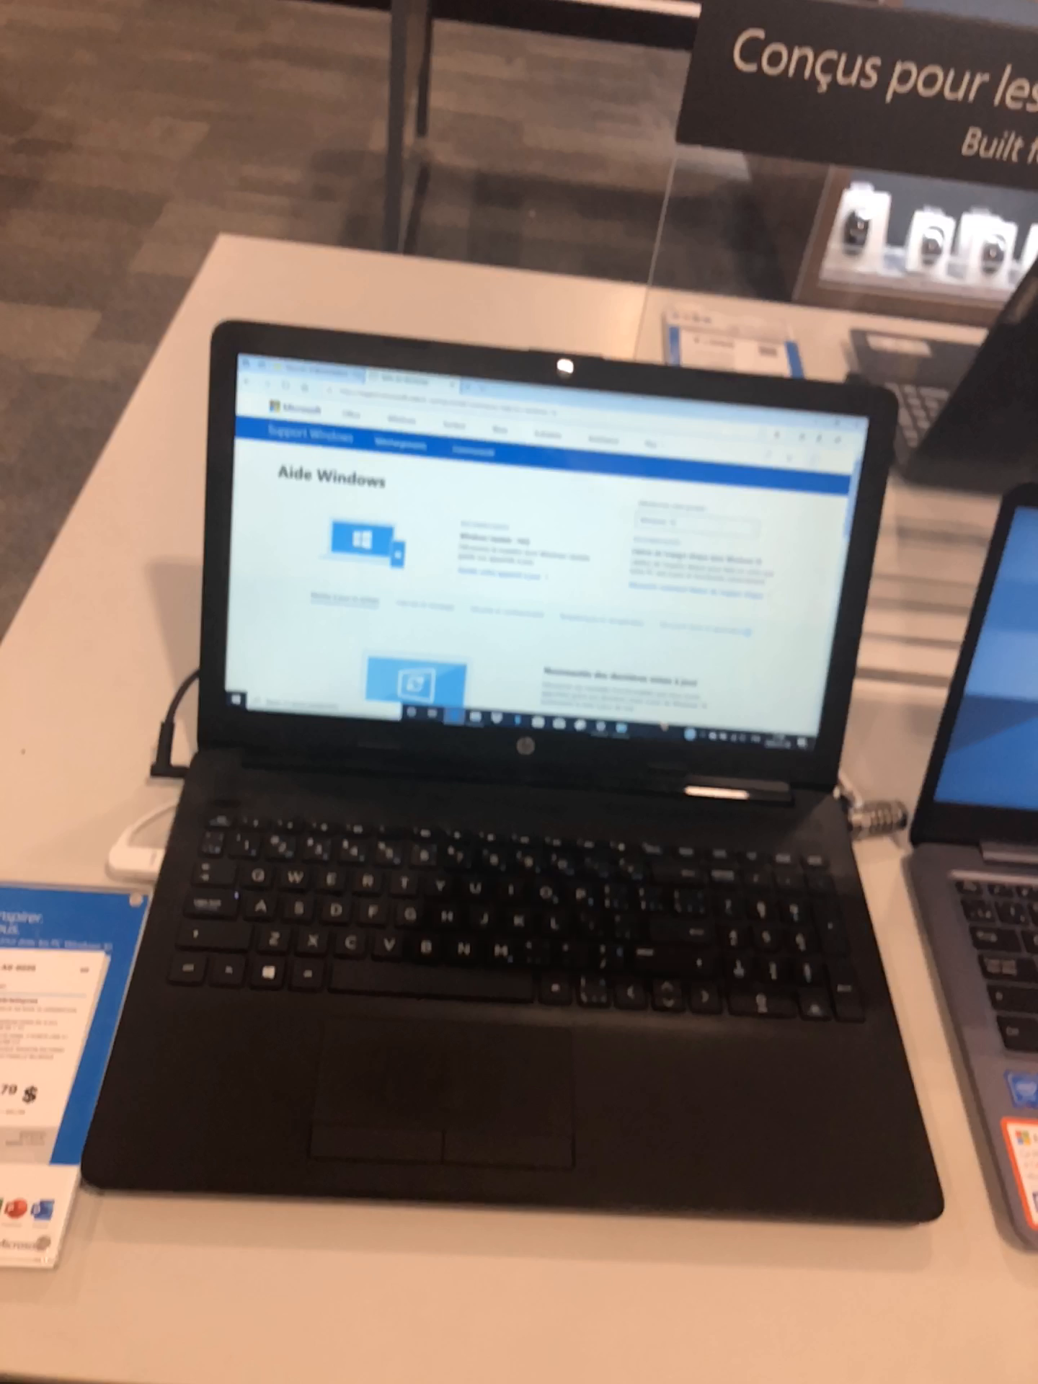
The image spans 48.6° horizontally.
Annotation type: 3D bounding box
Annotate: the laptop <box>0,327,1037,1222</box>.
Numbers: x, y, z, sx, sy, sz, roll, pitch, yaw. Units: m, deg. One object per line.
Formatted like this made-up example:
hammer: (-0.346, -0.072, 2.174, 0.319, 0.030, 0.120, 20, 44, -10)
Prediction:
laptop: (0.011, 0.017, 0.545, 0.356, 0.195, 0.361, 4, 43, -3)
